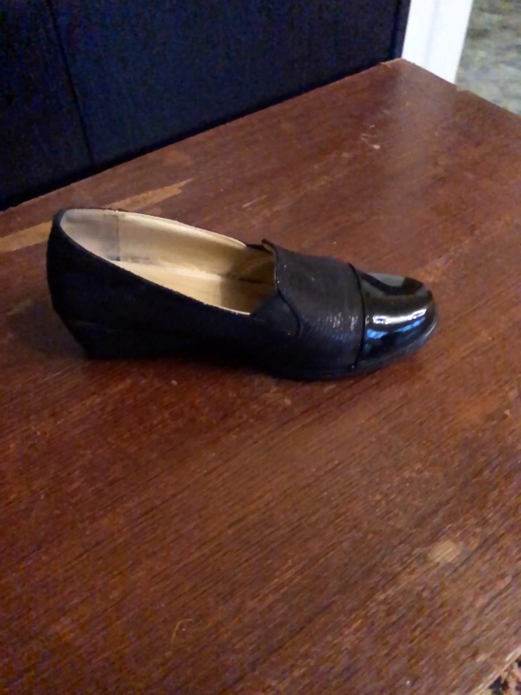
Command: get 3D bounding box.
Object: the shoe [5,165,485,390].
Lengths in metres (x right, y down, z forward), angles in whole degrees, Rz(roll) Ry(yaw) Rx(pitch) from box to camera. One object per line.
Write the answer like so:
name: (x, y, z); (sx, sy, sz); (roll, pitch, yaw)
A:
shoe: (-0.007, -0.041, 0.341); (0.236, 0.070, 0.090); (4, 50, -2)
